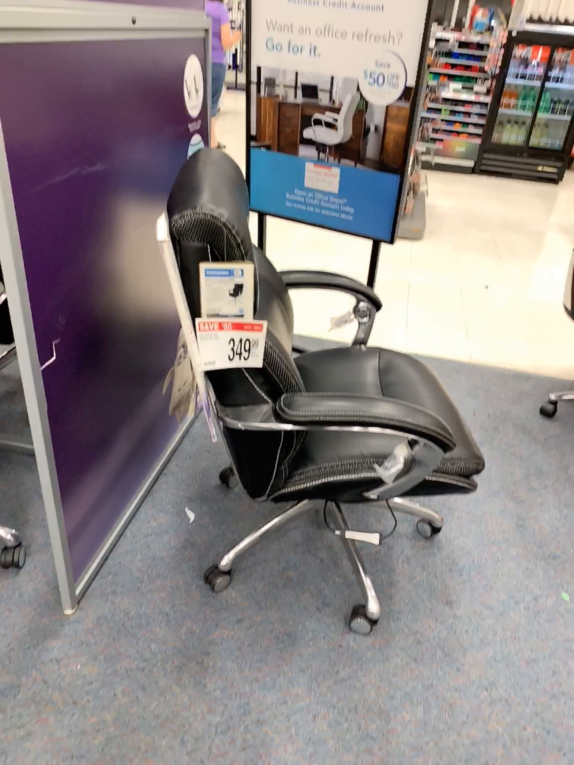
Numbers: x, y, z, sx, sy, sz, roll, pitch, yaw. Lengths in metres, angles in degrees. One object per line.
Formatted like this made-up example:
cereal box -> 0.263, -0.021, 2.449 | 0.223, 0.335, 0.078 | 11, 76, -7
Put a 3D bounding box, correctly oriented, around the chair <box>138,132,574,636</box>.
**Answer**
chair -> 0.121, -0.013, 1.429 | 0.781, 0.946, 0.742 | 3, 32, -5
